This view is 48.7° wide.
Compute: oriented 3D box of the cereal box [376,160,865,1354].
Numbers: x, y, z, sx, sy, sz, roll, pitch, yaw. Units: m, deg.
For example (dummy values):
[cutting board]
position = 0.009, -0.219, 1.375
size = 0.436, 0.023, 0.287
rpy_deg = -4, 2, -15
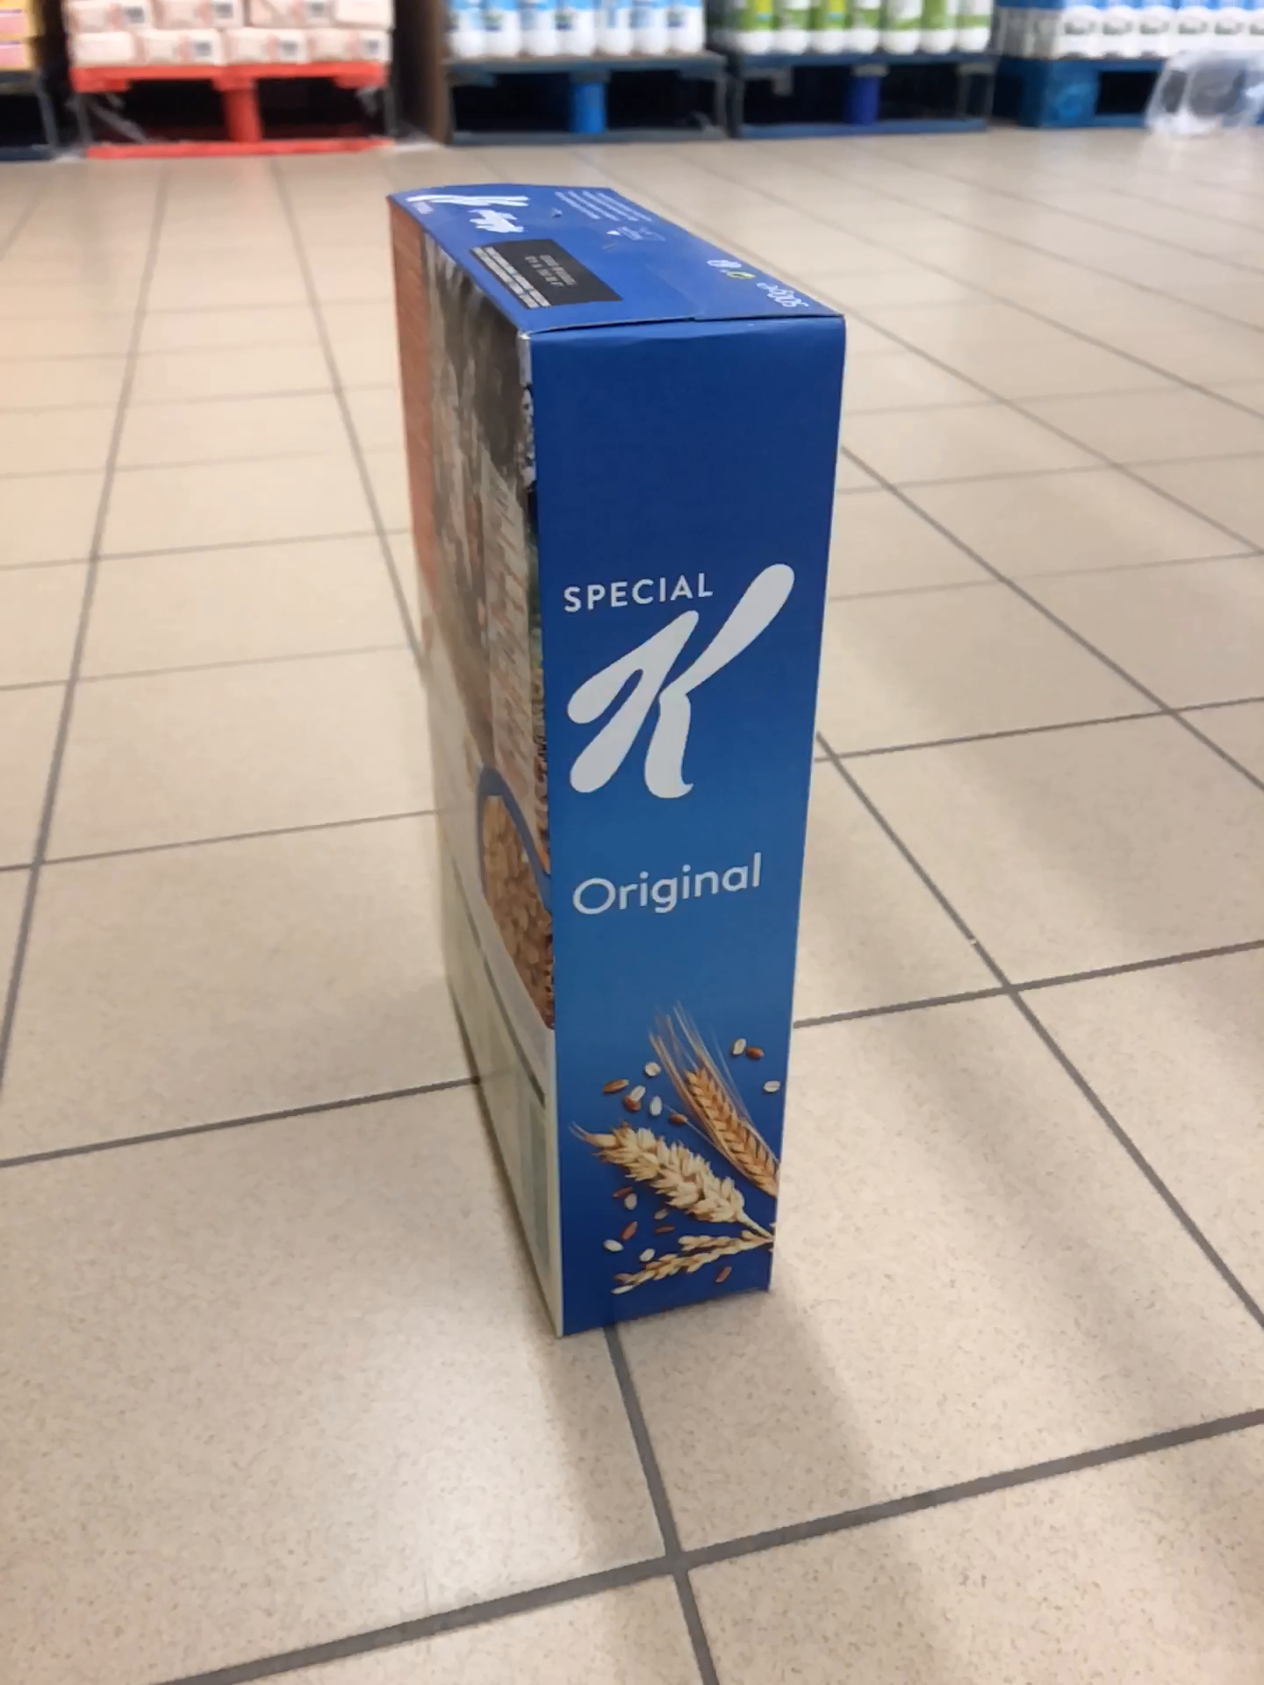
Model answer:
[cereal box]
position = -0.017, -0.034, 0.432
size = 0.070, 0.298, 0.211
rpy_deg = -8, 32, -14
